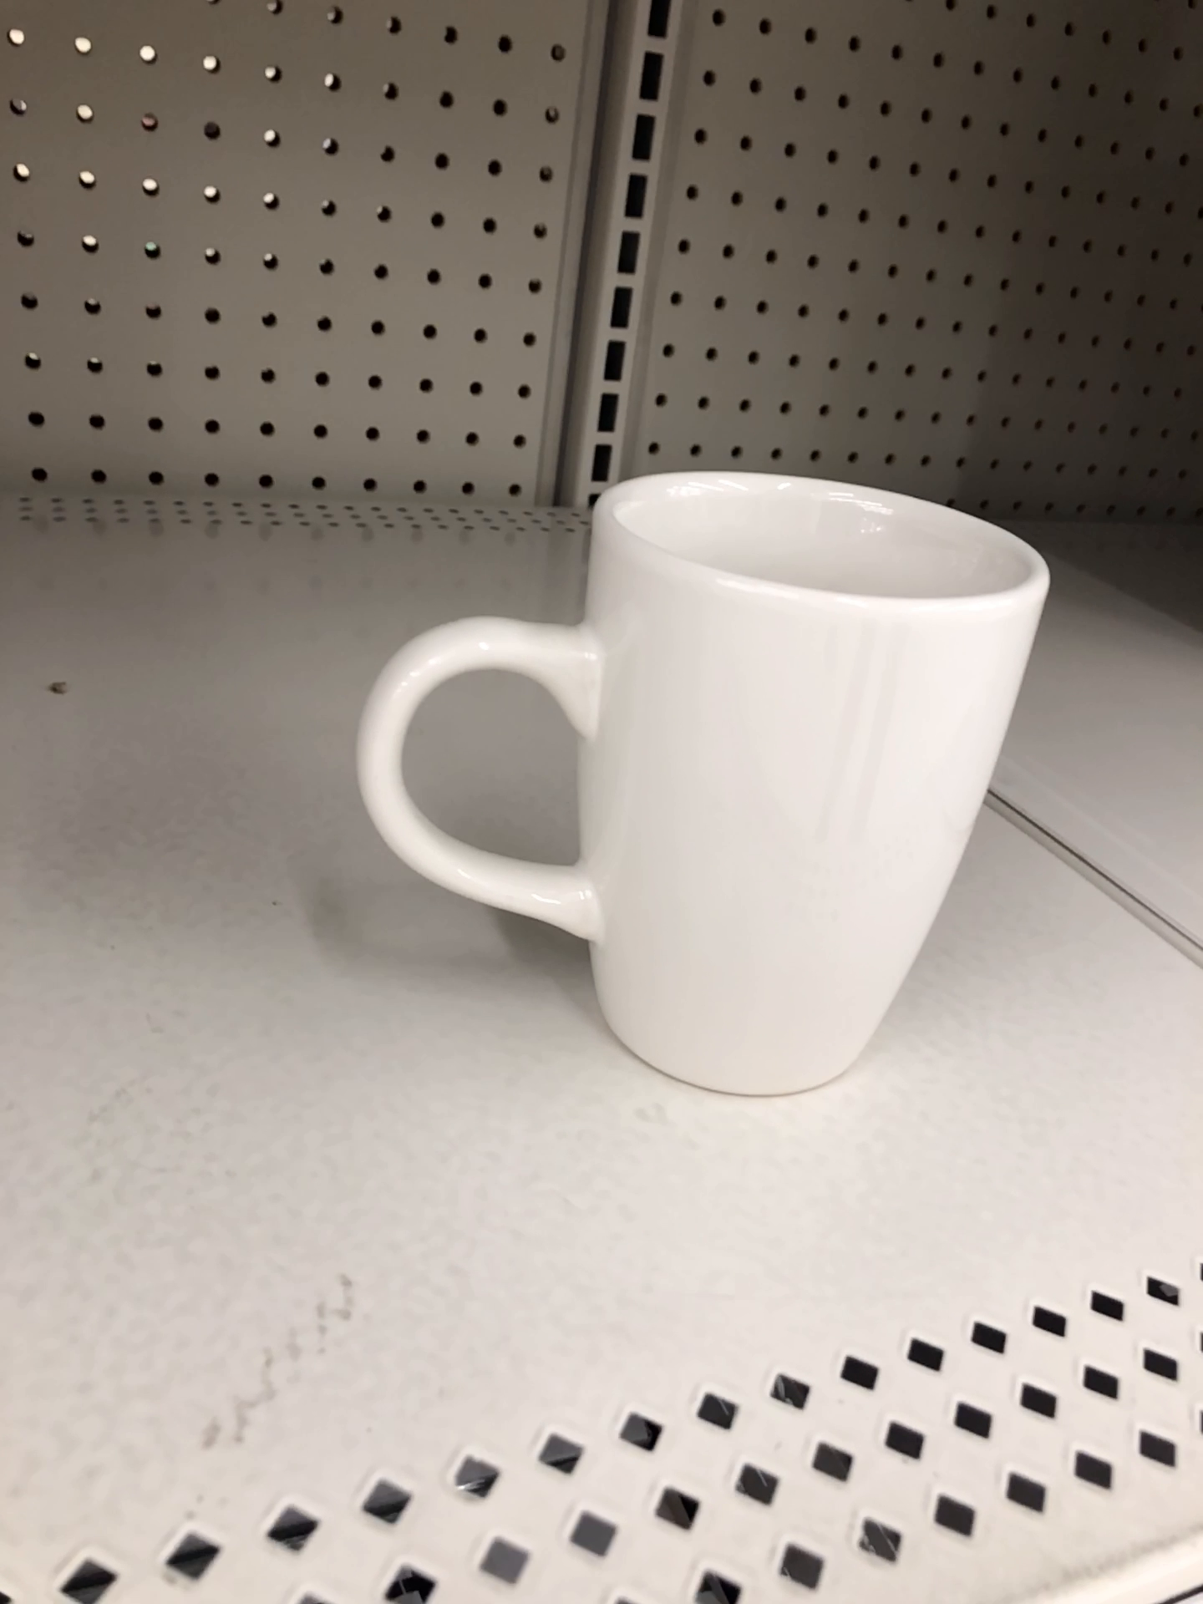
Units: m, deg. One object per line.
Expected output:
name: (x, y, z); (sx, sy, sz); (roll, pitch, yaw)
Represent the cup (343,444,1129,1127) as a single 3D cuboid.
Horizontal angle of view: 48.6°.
cup: (0.014, -0.004, 0.269); (0.125, 0.106, 0.081); (2, 26, -12)
